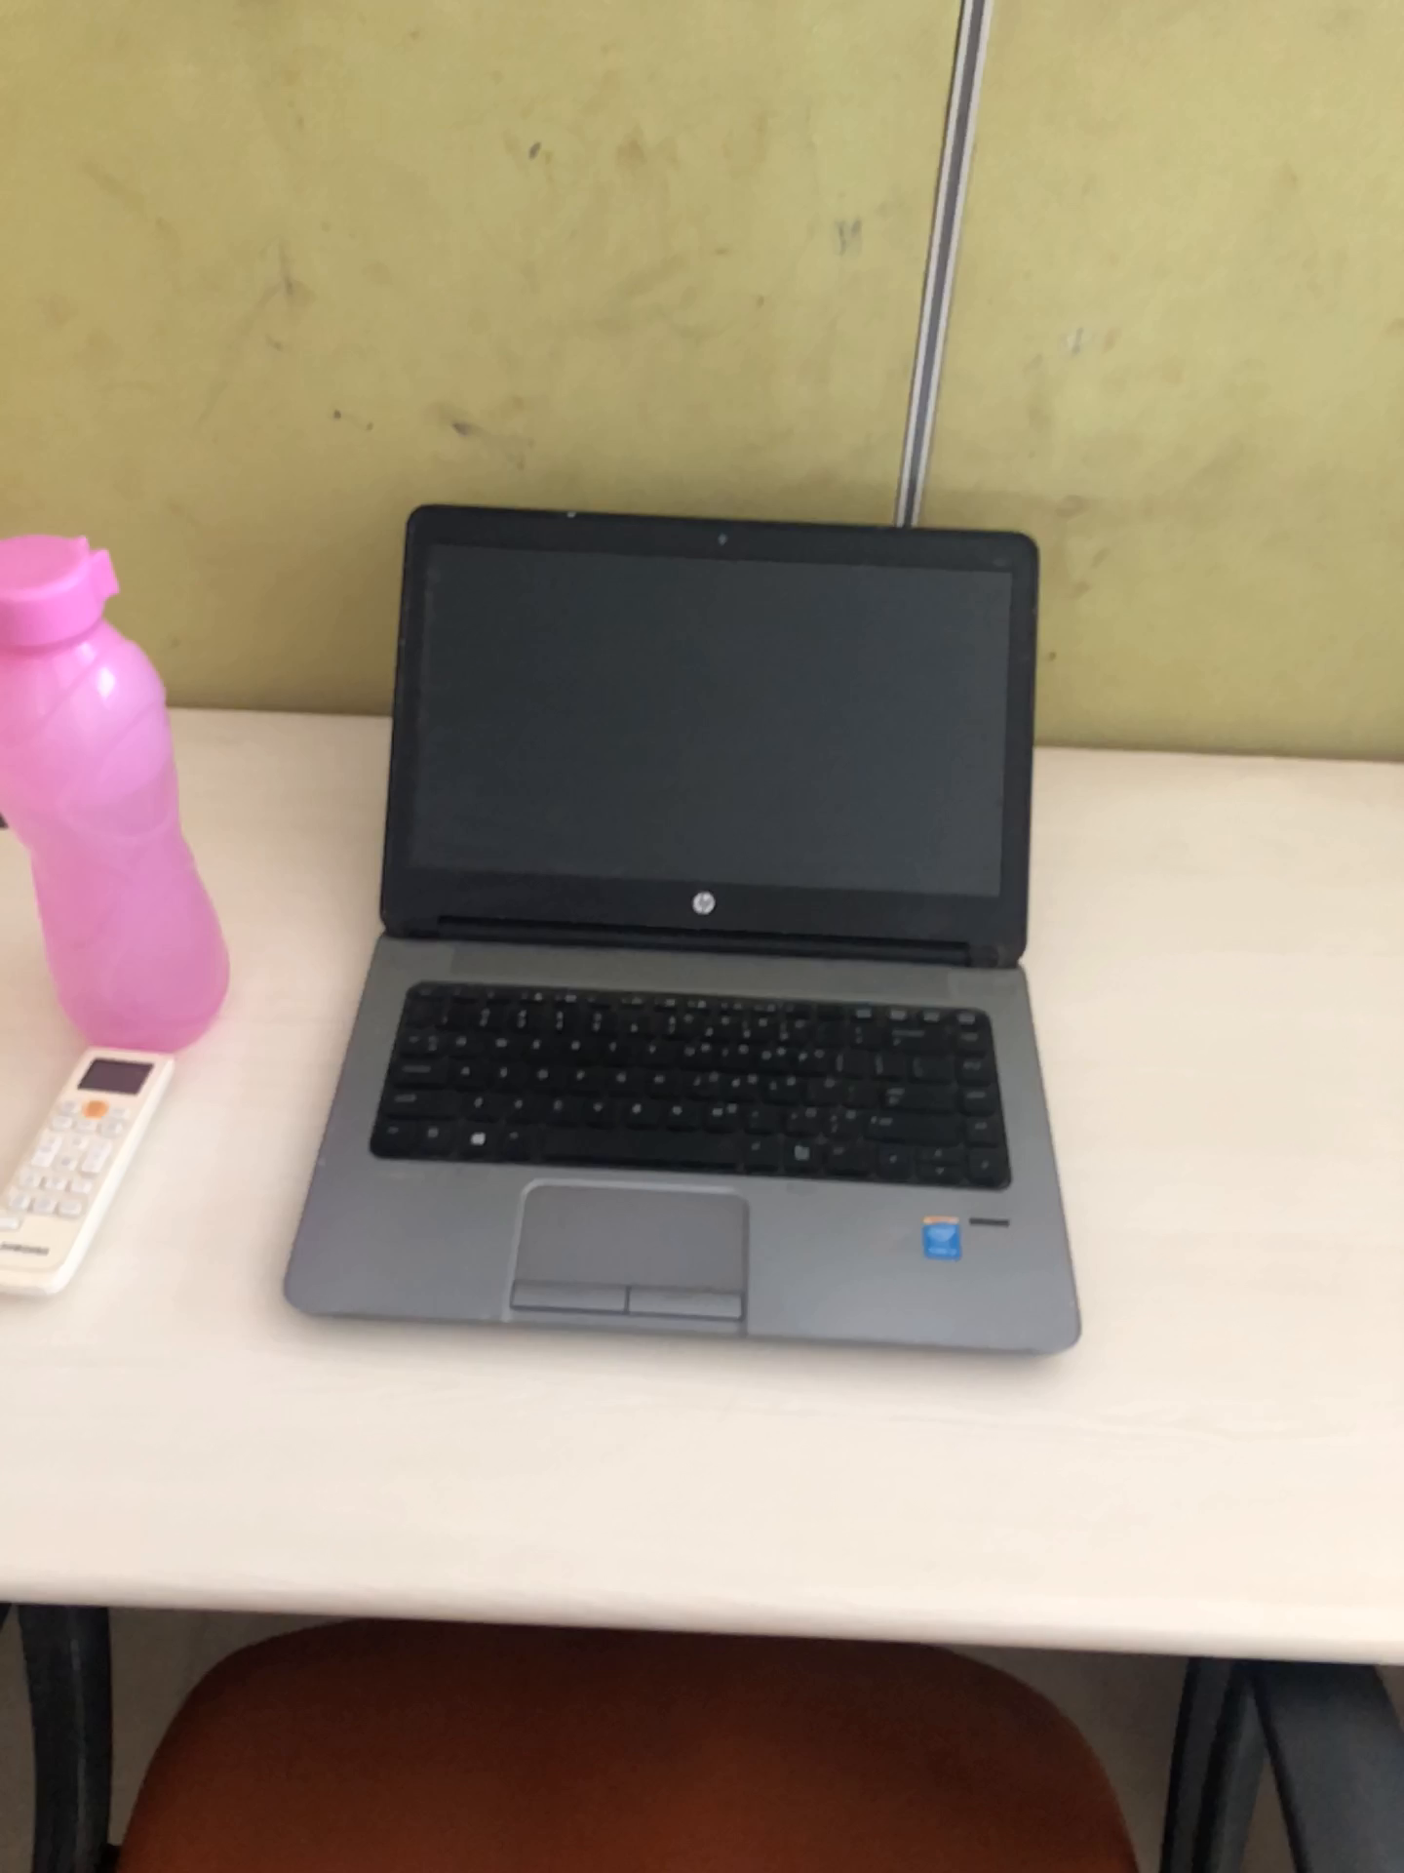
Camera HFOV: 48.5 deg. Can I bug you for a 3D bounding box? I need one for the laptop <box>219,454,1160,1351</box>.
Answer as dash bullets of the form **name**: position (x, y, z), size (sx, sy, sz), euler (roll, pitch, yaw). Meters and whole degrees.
- **laptop**: position (0.001, -0.042, 0.727), size (0.326, 0.147, 0.409), euler (3, 47, 1)
